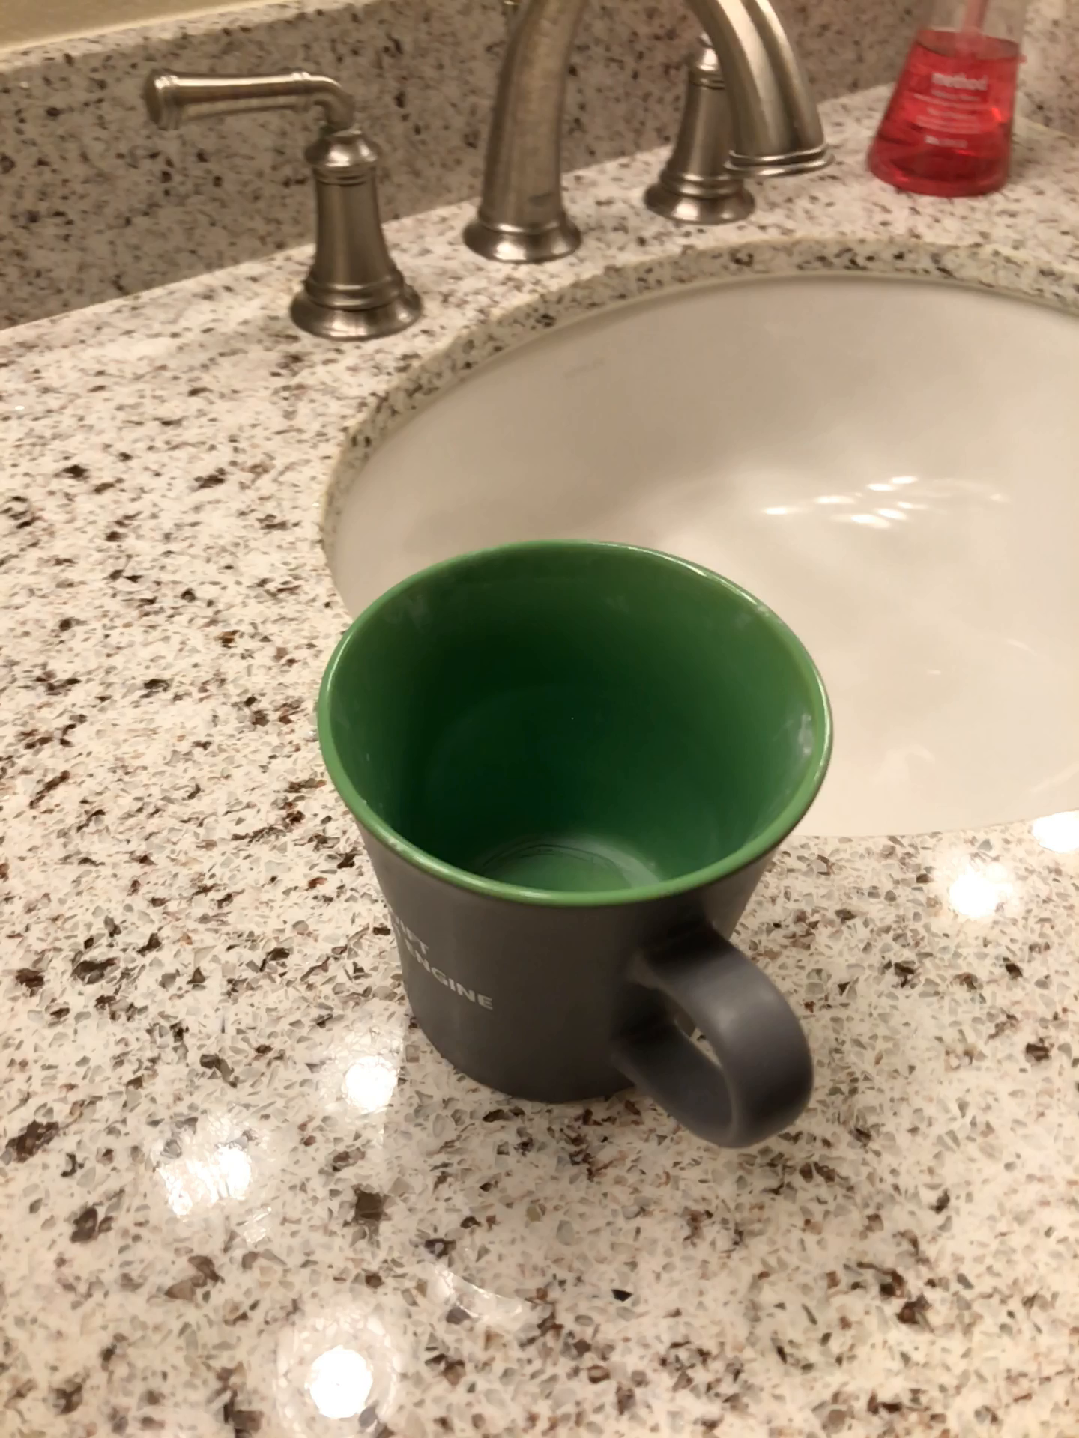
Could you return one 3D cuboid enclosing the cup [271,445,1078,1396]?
[{"bbox_3d":[0.022,0.035,0.256,0.100,0.109,0.141,-22,50,-21],"label":"cup"}]
